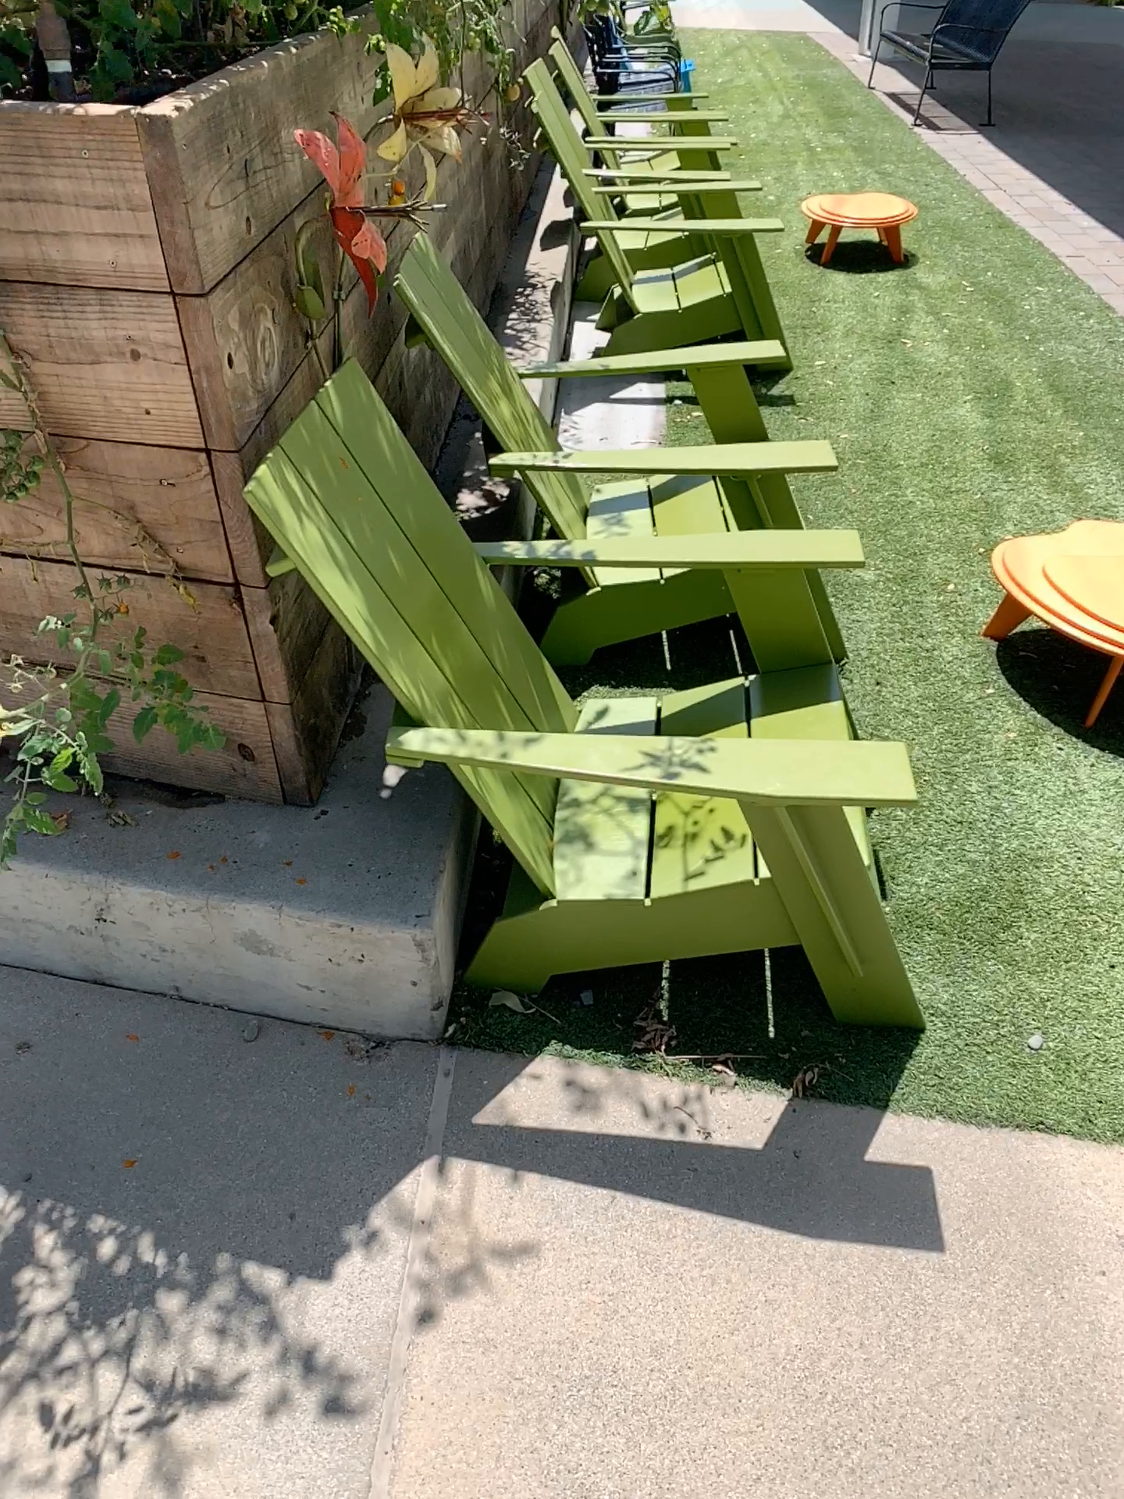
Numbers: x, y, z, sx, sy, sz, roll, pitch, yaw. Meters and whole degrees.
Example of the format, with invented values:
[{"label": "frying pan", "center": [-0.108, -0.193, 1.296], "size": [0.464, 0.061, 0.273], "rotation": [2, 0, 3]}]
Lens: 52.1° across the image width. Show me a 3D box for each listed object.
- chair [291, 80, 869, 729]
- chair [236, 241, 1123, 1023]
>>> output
[{"label": "chair", "center": [0.116, -0.702, 2.477], "size": [0.890, 0.984, 0.684], "rotation": [-9, 38, 15]}, {"label": "chair", "center": [0.186, -0.157, 1.642], "size": [0.900, 0.835, 0.684], "rotation": [-2, 36, 8]}]
